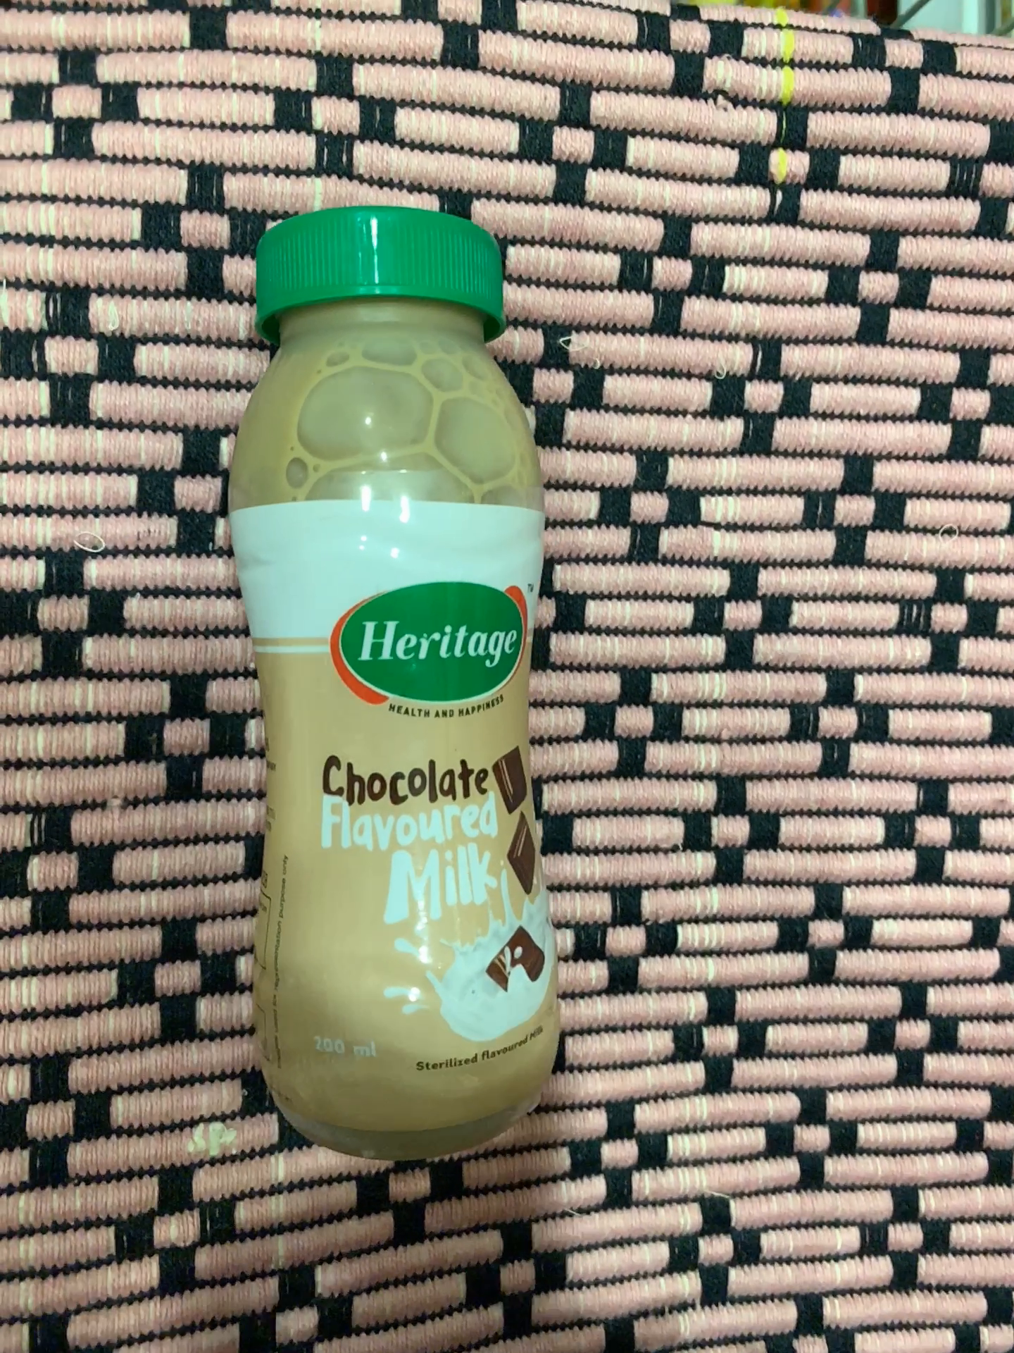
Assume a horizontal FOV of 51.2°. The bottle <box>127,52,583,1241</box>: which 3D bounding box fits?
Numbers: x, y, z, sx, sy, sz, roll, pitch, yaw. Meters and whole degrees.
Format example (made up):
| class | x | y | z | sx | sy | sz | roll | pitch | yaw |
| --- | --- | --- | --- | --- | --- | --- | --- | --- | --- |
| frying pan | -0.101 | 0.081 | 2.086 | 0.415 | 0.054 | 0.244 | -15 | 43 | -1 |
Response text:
| class | x | y | z | sx | sy | sz | roll | pitch | yaw |
| --- | --- | --- | --- | --- | --- | --- | --- | --- | --- |
| bottle | -0.025 | -0.004 | 0.158 | 0.050 | 0.050 | 0.140 | -2 | 89 | -24 |
